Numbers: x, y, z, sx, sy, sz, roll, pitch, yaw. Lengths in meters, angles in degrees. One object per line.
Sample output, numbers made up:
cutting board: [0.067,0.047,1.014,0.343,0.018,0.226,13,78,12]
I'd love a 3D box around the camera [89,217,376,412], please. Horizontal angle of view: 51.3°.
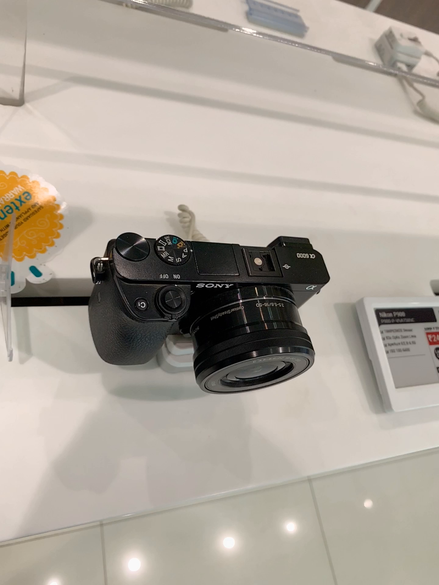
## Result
camera: [0.001,0.012,0.207,0.104,0.063,0.058,0,63,-25]
